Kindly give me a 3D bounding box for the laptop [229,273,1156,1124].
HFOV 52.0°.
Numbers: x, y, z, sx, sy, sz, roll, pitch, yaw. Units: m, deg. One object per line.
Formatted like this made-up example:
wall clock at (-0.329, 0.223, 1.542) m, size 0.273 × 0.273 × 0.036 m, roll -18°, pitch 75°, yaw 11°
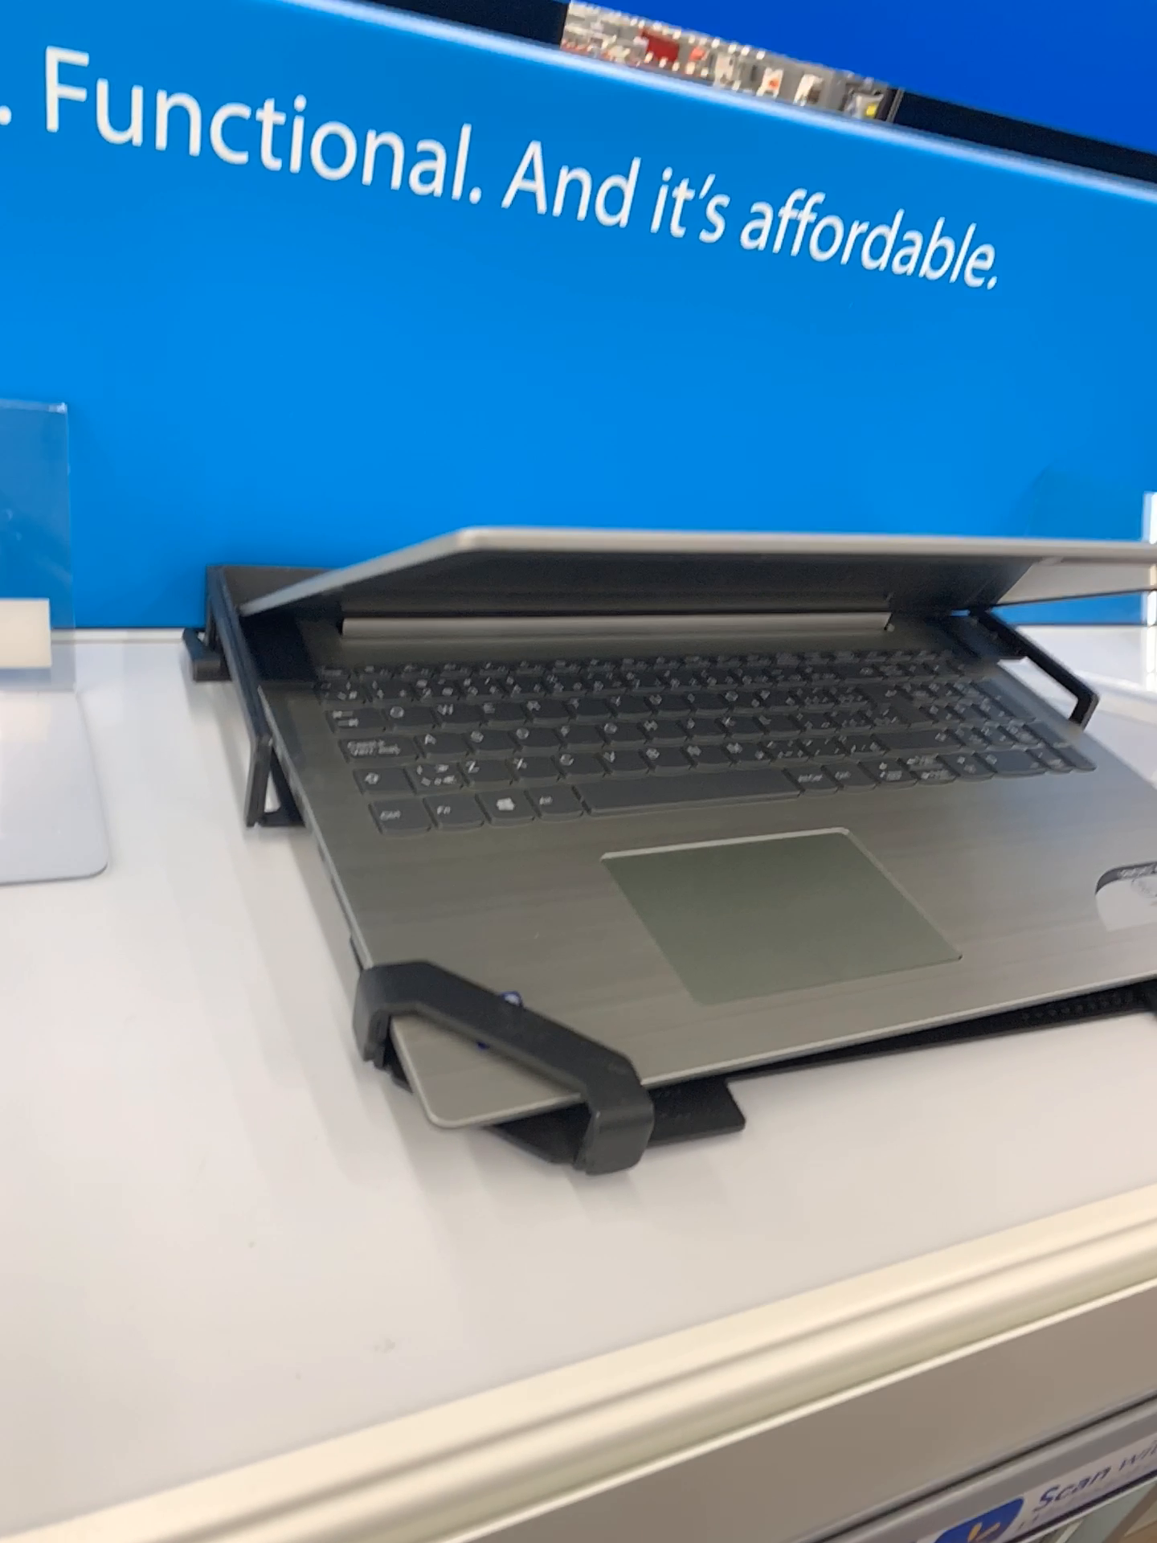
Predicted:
laptop at (0.081, -0.044, 0.373) m, size 0.325 × 0.110 × 0.220 m, roll -3°, pitch 37°, yaw -28°
